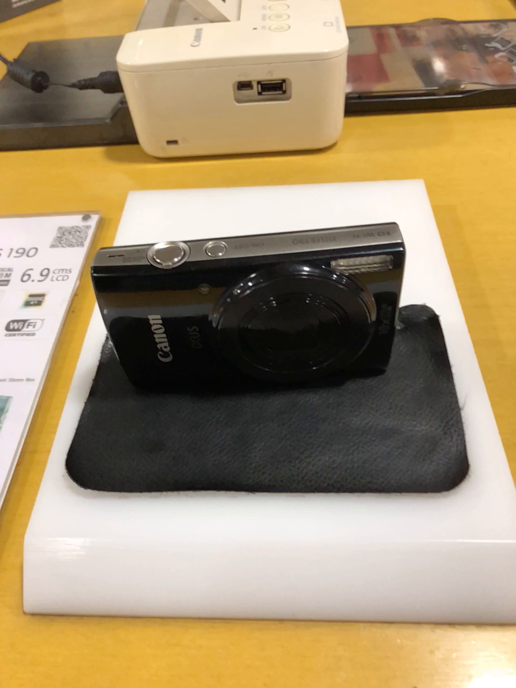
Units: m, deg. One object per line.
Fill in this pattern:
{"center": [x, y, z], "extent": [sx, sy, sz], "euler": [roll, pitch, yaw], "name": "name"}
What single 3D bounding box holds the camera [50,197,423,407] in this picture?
{"center": [-0.005, -0.012, 0.182], "extent": [0.100, 0.050, 0.030], "euler": [-6, 48, 0], "name": "camera"}
